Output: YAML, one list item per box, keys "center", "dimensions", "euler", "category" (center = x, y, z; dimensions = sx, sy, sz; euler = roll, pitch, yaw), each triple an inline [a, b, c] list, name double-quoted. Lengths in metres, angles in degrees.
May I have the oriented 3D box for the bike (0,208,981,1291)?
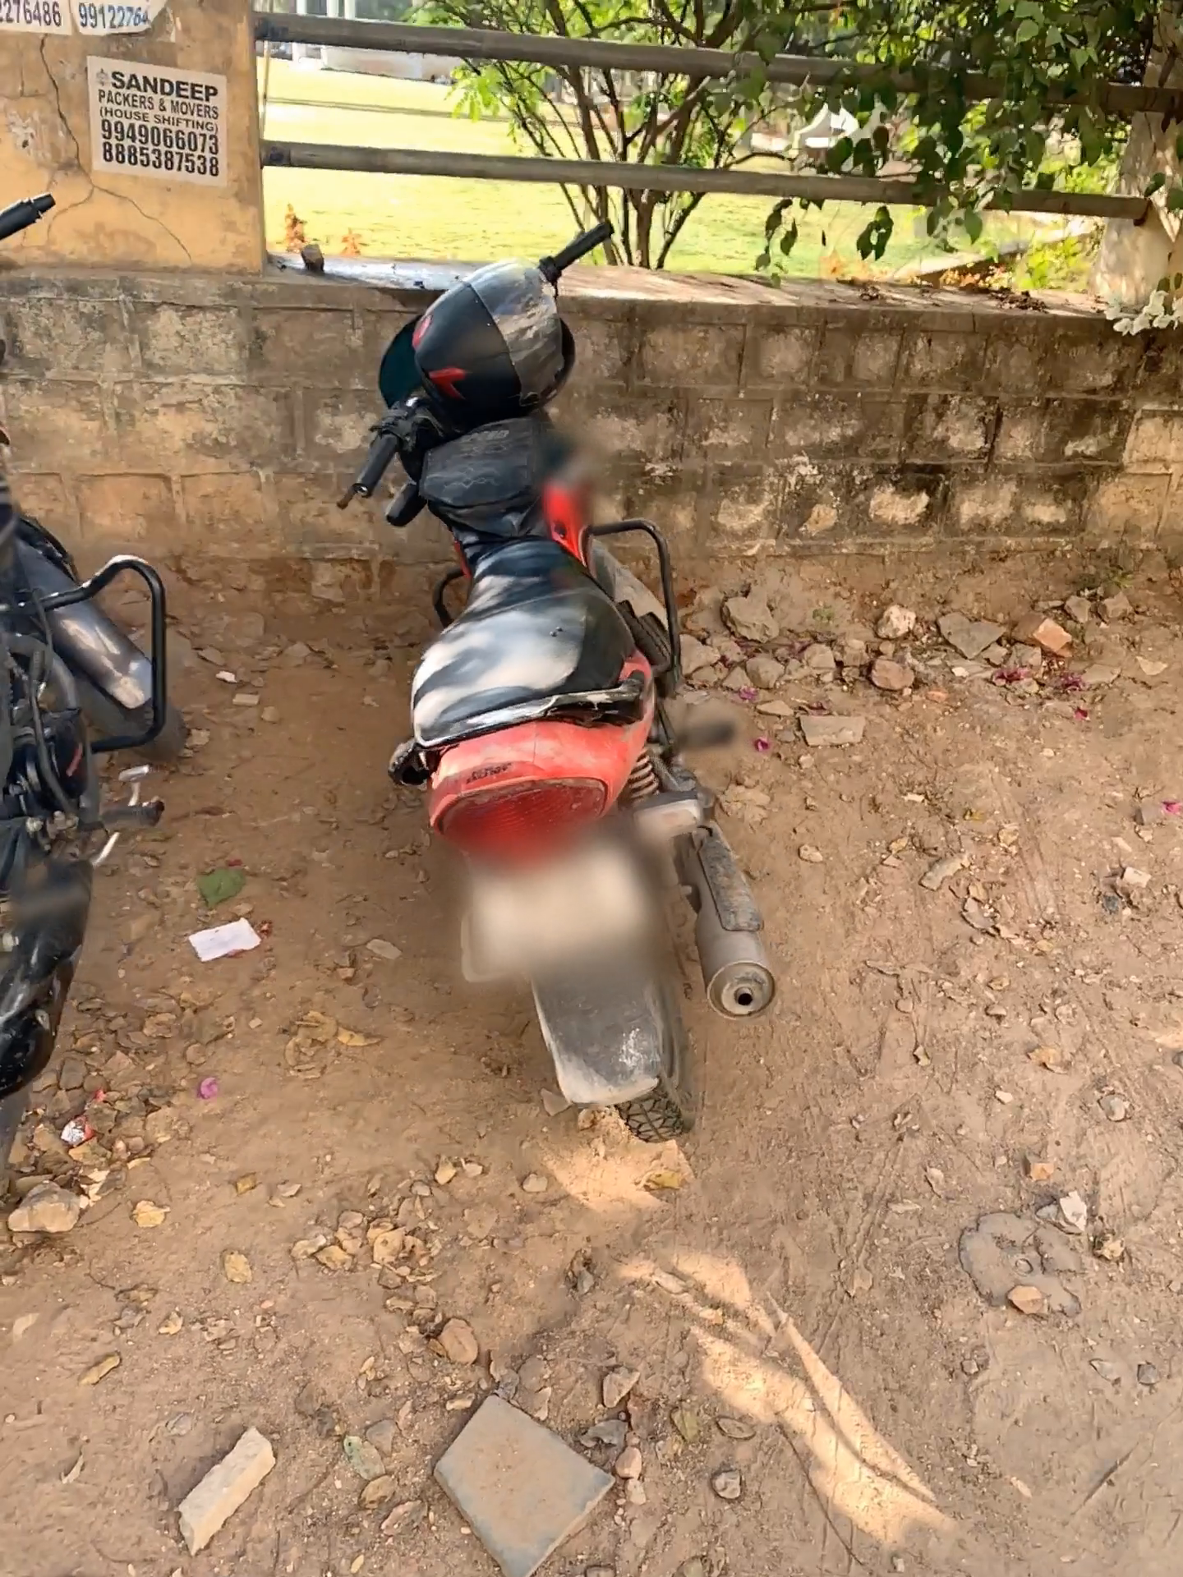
- center: [-0.277, -0.241, 2.125]
  dimensions: [1.063, 1.245, 1.603]
  euler: [0, 29, -8]
  category: "bike"
